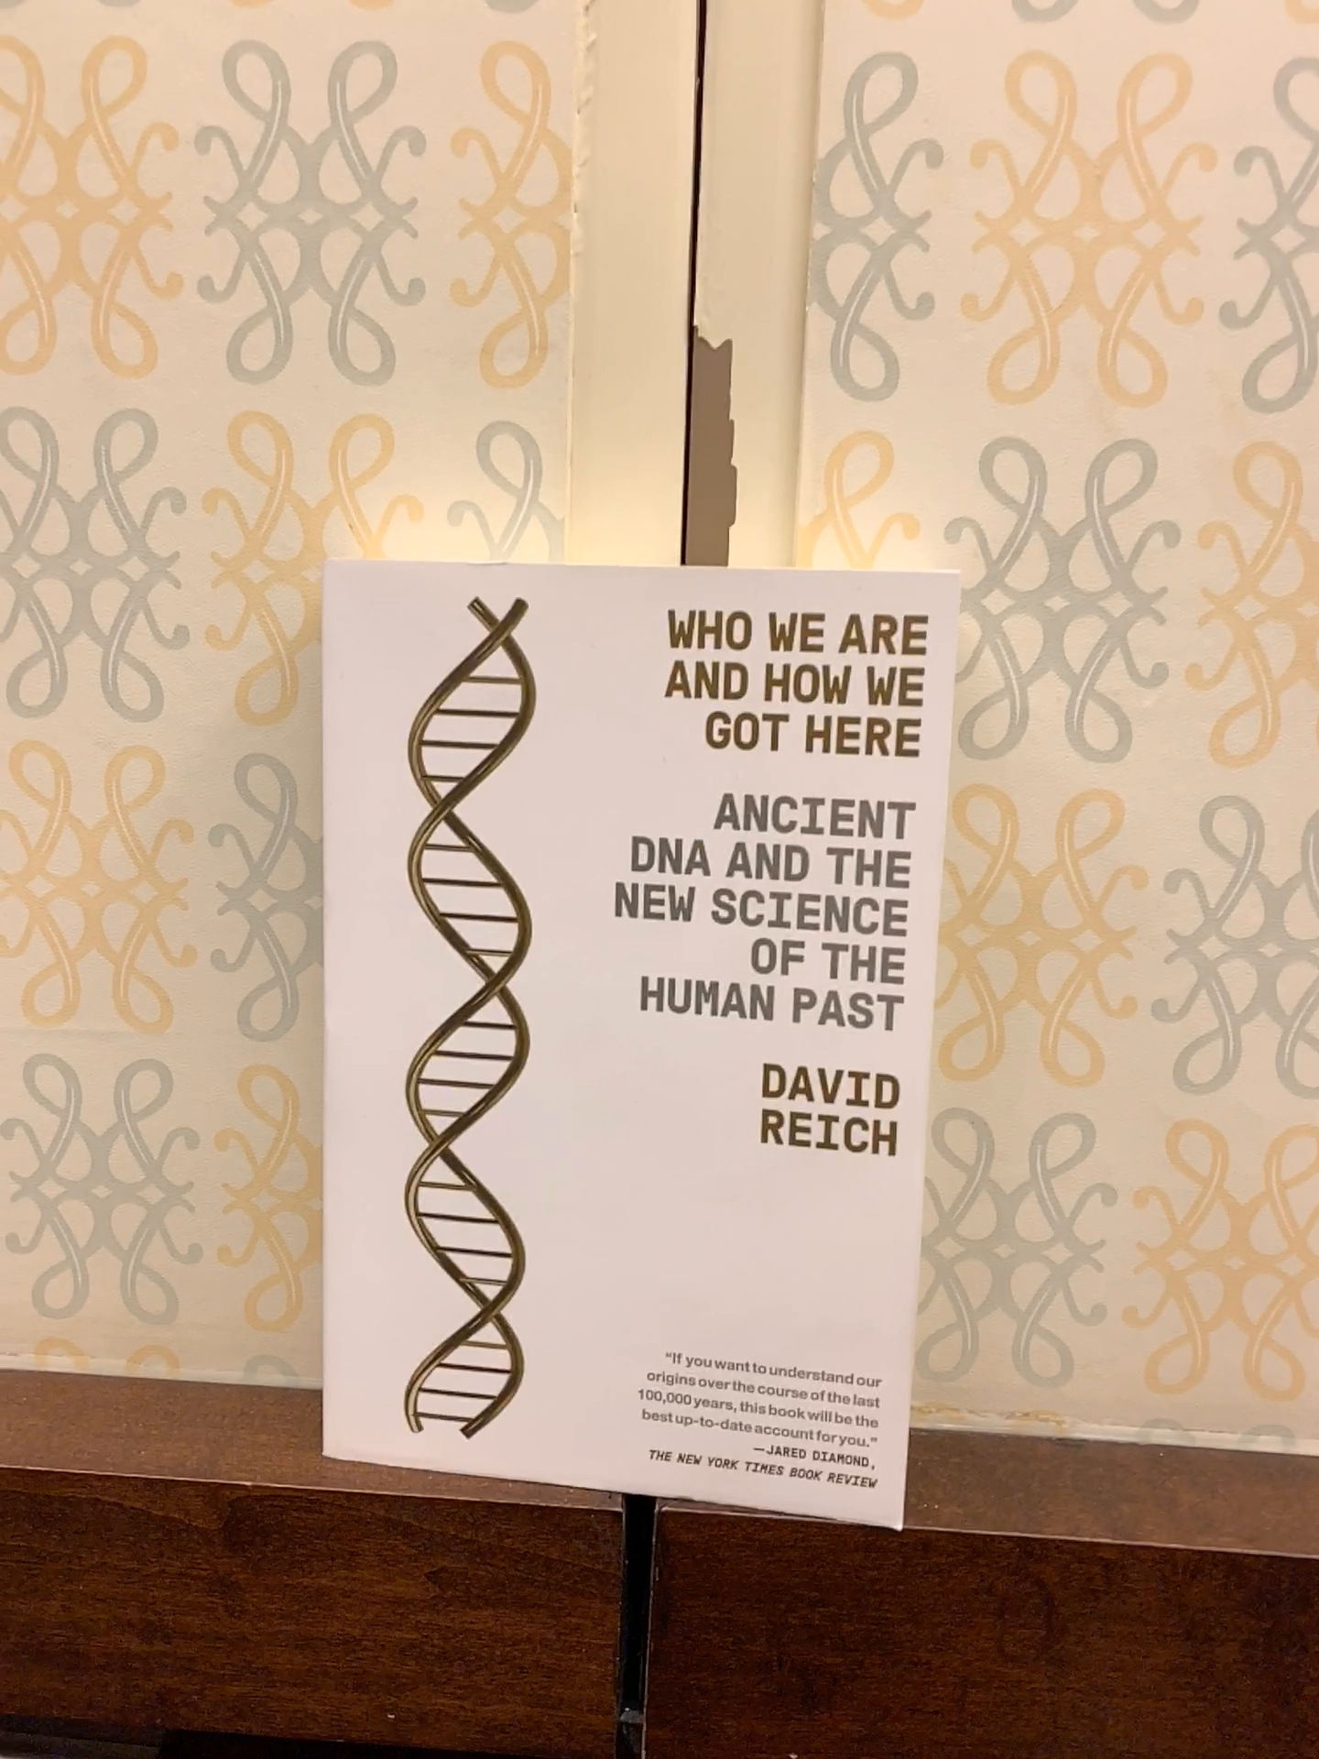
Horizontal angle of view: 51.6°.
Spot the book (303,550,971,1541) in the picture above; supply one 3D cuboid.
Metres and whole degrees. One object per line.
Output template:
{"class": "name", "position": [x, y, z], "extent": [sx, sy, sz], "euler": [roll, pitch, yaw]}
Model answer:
{"class": "book", "position": [-0.008, 0.035, 0.294], "extent": [0.127, 0.199, 0.041], "euler": [2, 8, 1]}
